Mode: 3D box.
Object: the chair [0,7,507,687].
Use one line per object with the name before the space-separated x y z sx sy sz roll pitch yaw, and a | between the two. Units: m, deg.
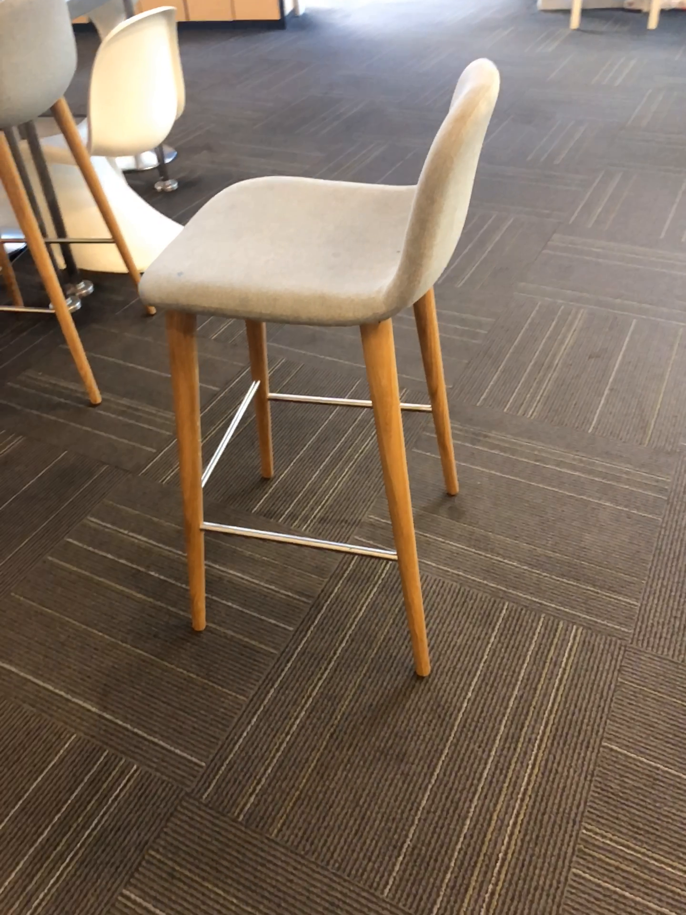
chair | -0.048 -0.170 1.292 0.560 0.945 0.573 4 39 10
